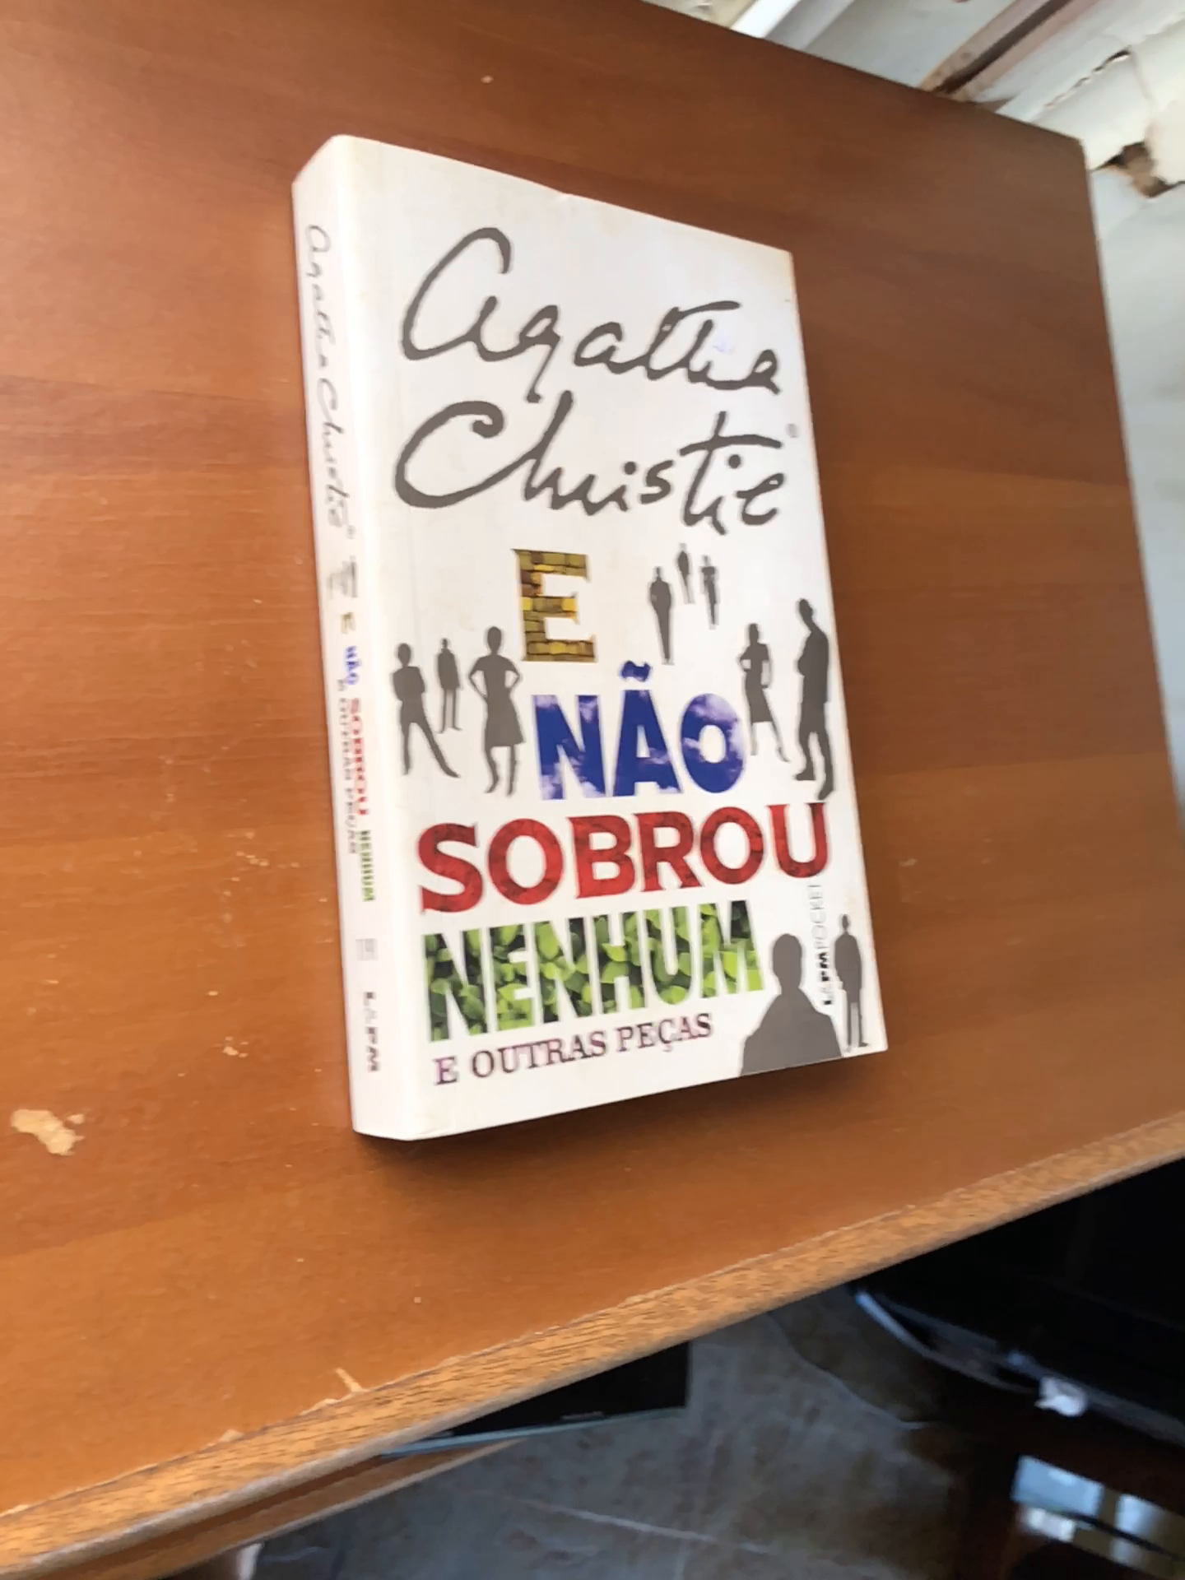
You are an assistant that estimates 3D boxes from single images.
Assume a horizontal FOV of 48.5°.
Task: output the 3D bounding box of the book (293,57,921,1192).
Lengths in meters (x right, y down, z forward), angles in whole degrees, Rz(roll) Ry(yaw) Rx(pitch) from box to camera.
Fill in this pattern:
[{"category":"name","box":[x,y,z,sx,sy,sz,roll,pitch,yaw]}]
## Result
[{"category":"book","box":[0.005,-0.030,0.251,0.110,0.024,0.186,-1,84,-32]}]
